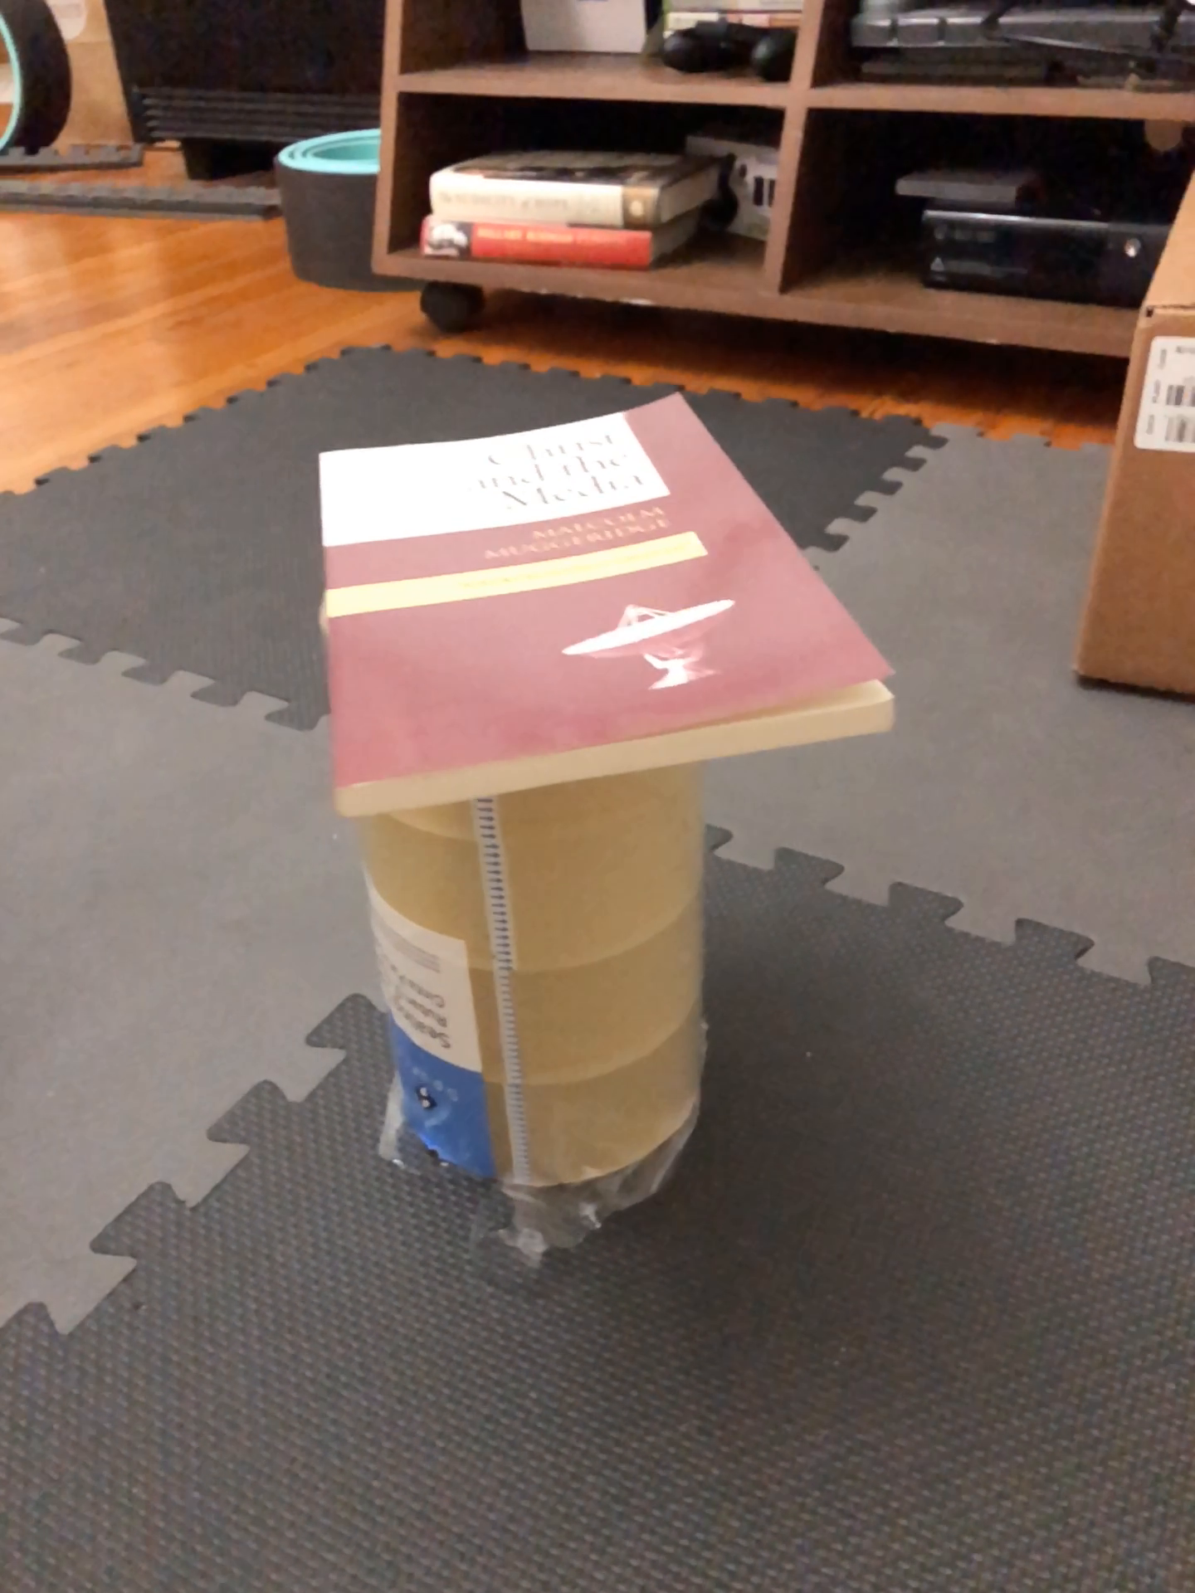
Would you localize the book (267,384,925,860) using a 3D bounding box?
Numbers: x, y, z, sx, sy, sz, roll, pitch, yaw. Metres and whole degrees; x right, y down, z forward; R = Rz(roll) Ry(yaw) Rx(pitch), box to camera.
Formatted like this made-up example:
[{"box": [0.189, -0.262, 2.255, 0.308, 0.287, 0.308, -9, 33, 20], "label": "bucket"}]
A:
[{"box": [-0.018, -0.065, 0.370, 0.140, 0.020, 0.211, -9, 36, -9], "label": "book"}]
